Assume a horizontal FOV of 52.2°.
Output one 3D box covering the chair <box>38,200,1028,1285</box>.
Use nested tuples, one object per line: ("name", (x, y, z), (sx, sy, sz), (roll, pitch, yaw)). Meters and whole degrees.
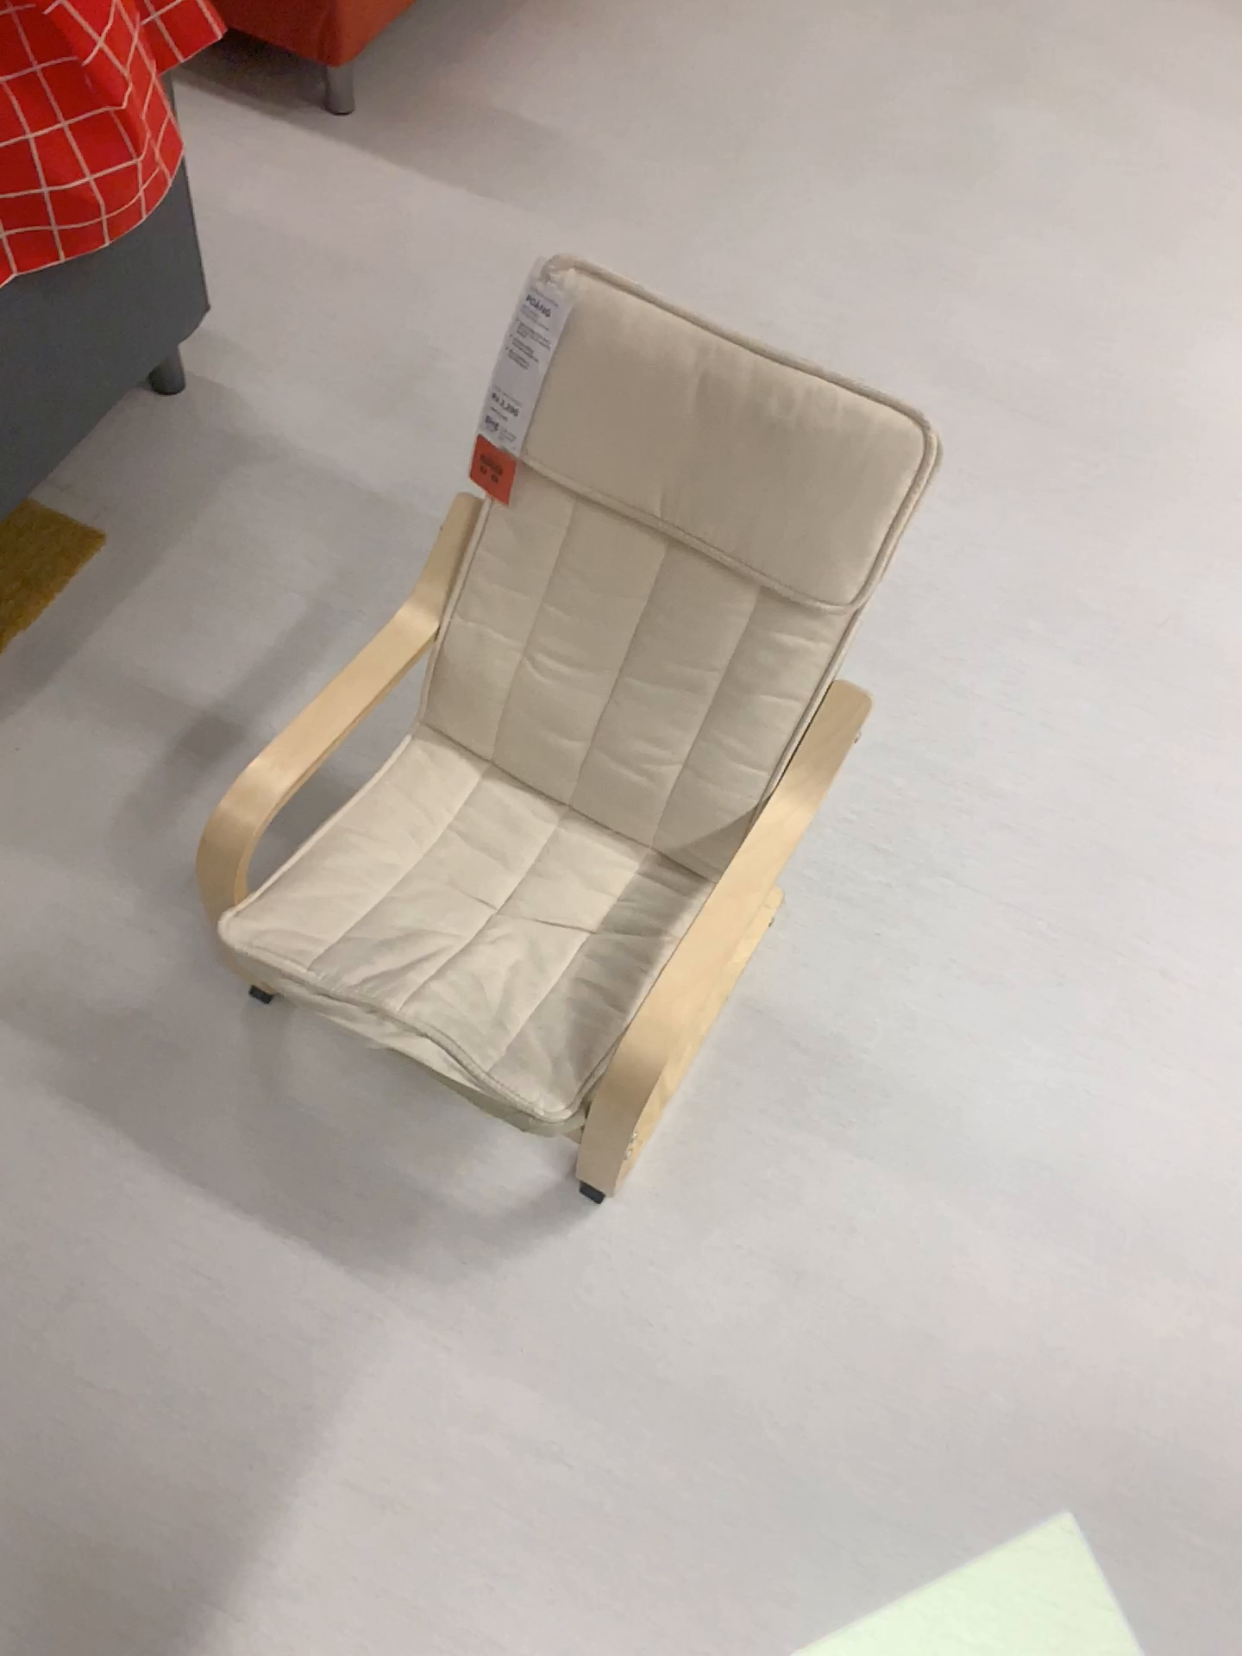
("chair", (-0.070, -0.015, 1.229), (0.490, 0.798, 0.541), (28, 59, 9))
